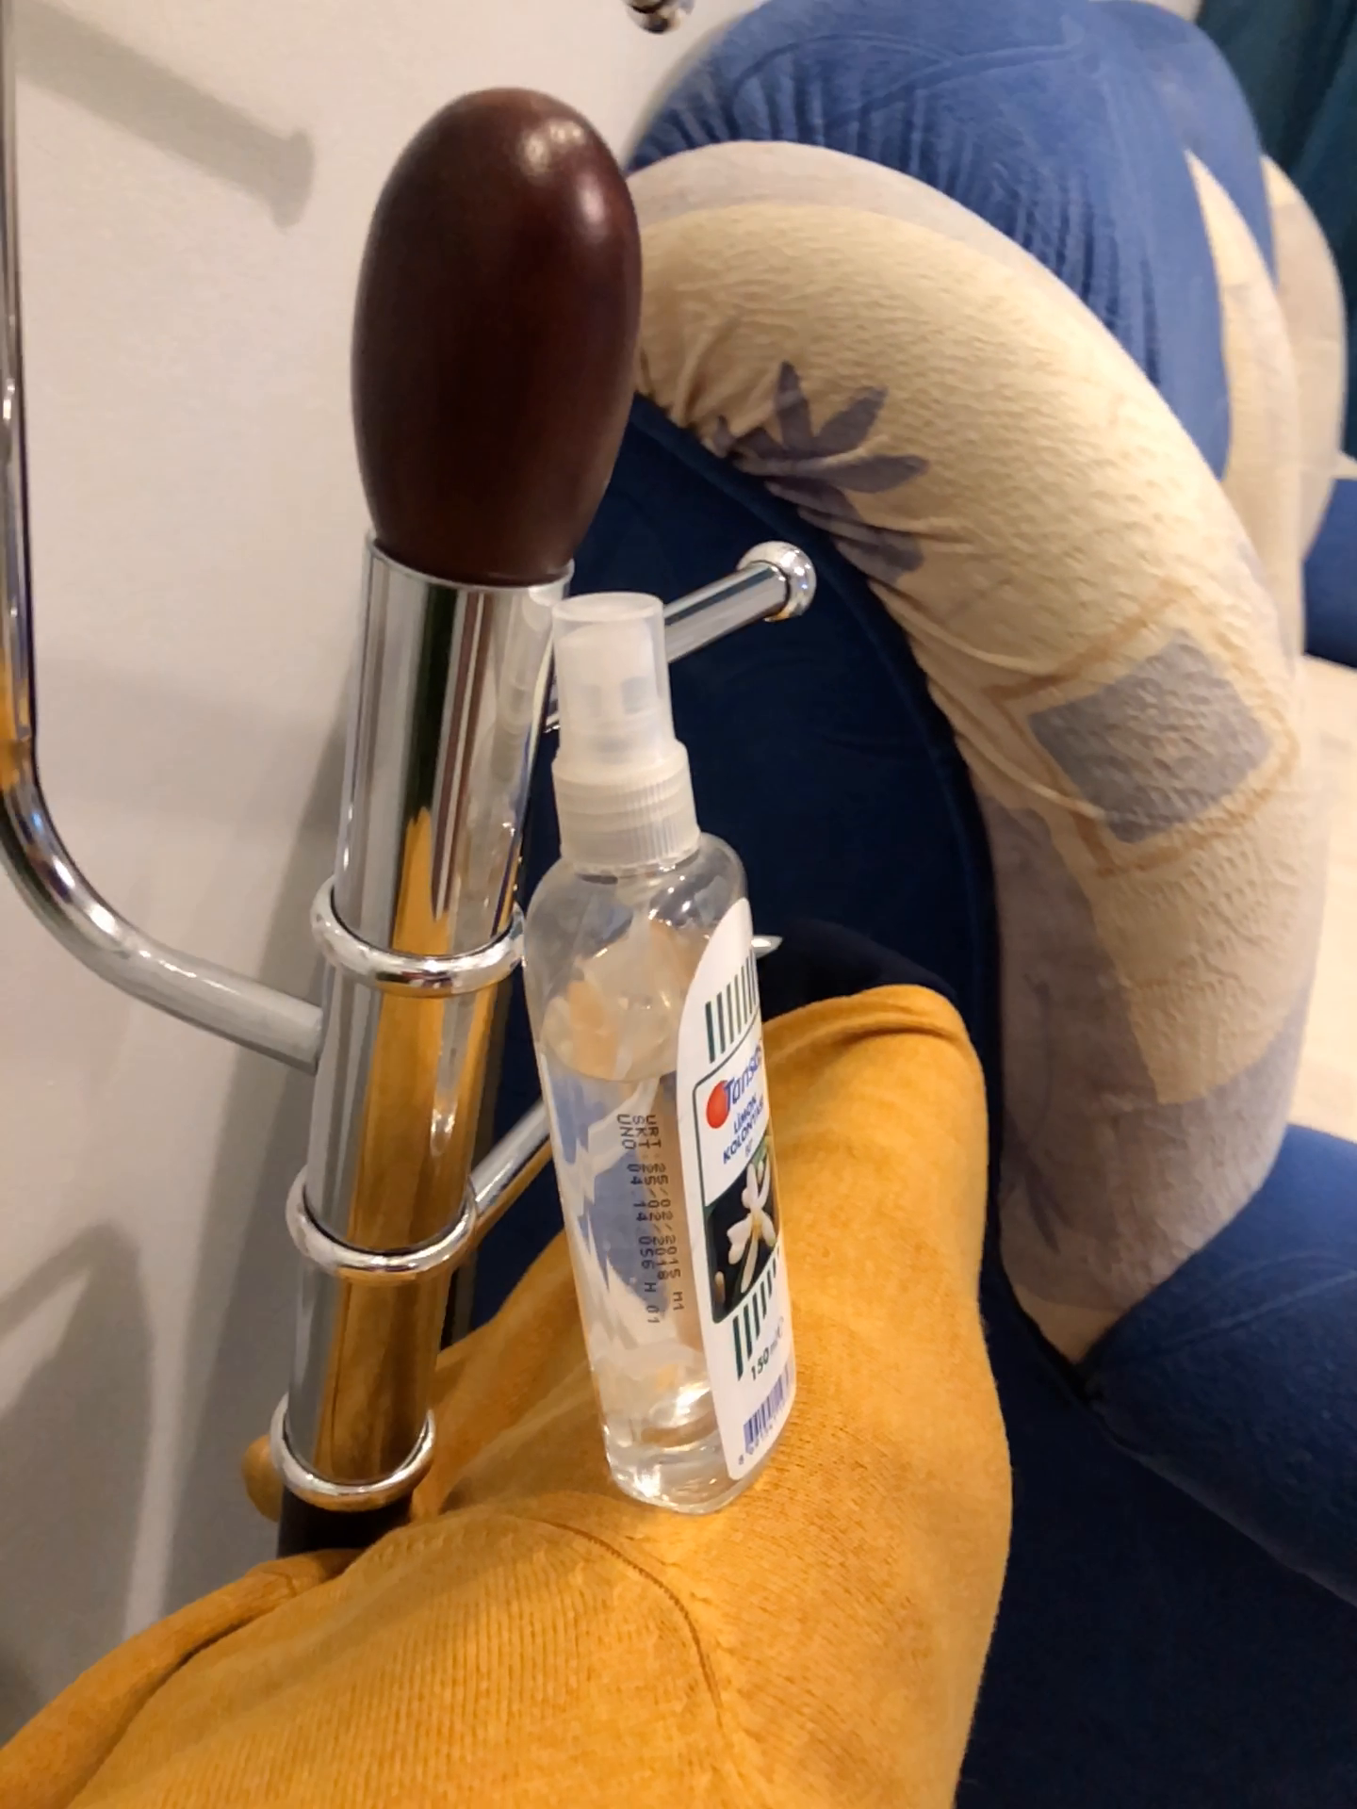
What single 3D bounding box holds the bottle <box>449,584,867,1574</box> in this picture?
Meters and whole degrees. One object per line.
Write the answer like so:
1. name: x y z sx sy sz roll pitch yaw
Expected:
1. bottle: 0.003 0.031 0.252 0.030 0.157 0.051 6 27 28
